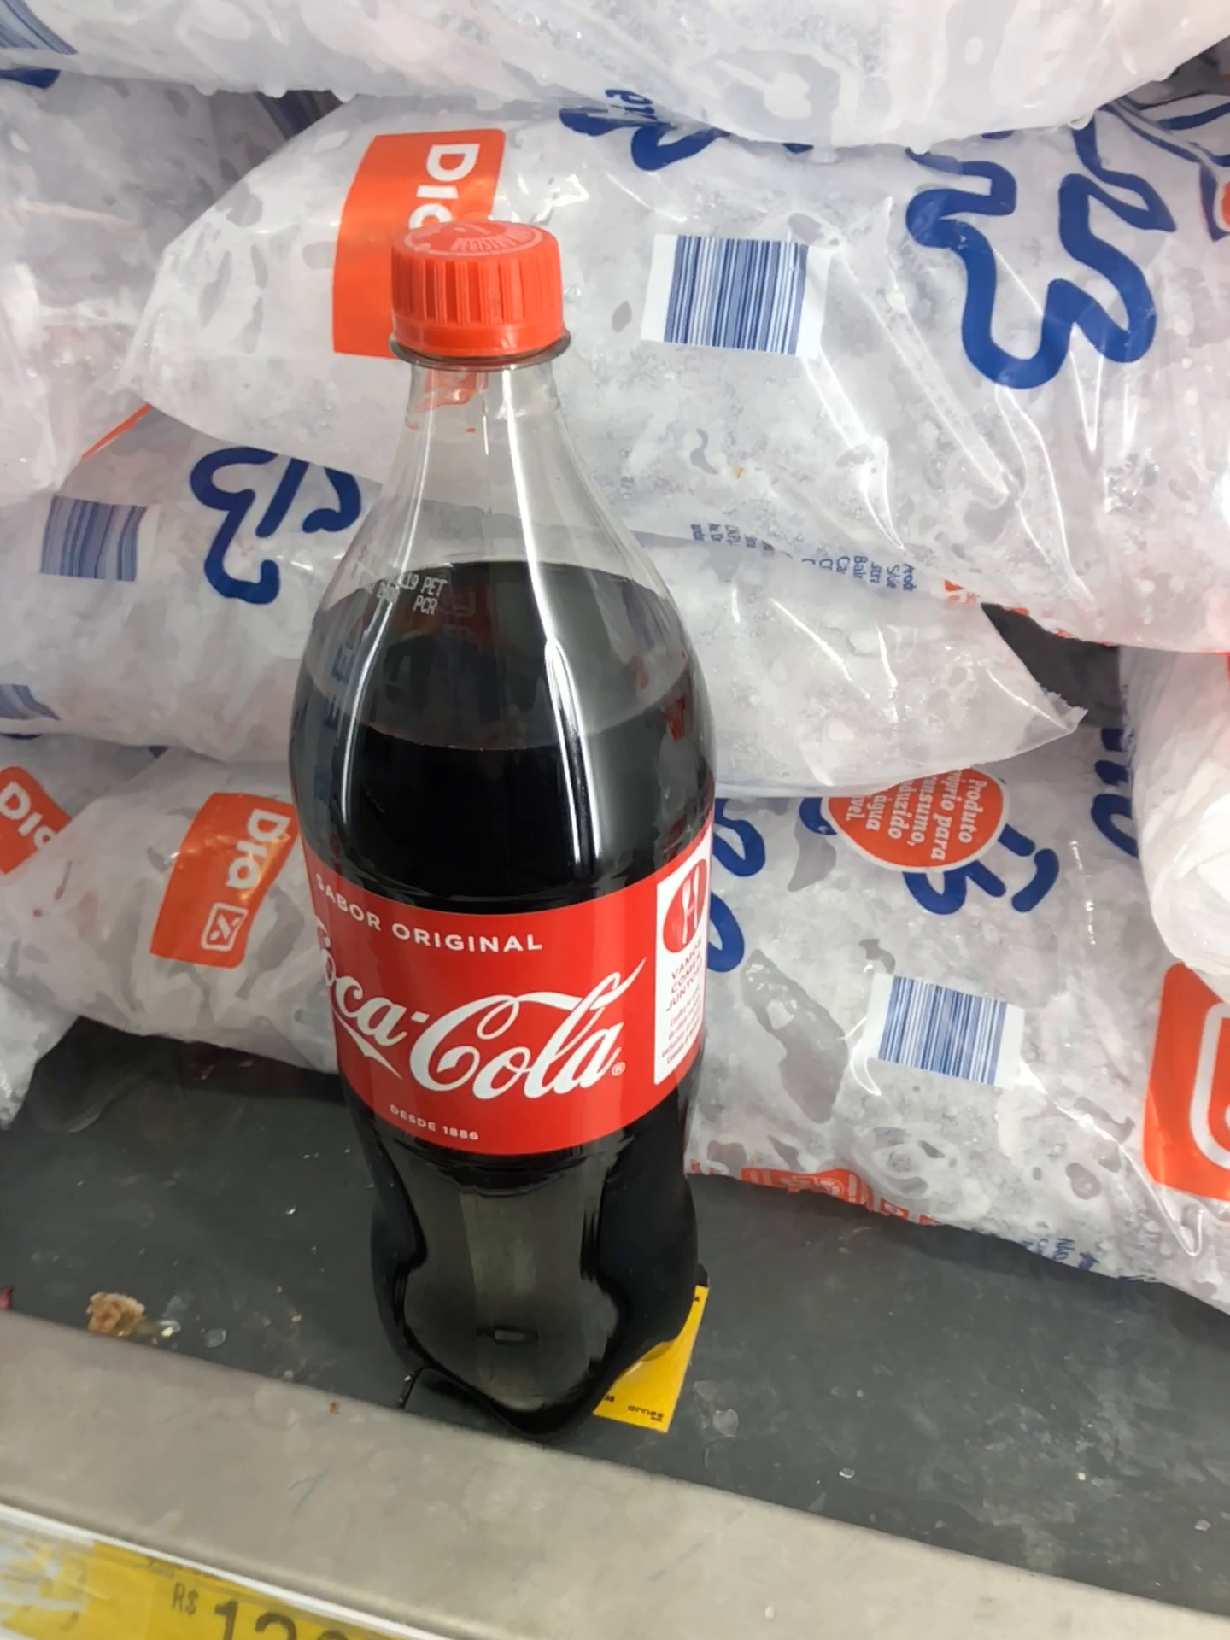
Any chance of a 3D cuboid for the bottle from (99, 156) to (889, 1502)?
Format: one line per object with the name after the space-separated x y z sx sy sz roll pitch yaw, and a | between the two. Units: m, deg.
-0.017 0.022 0.304 0.100 0.288 0.081 15 39 19 | bottle
